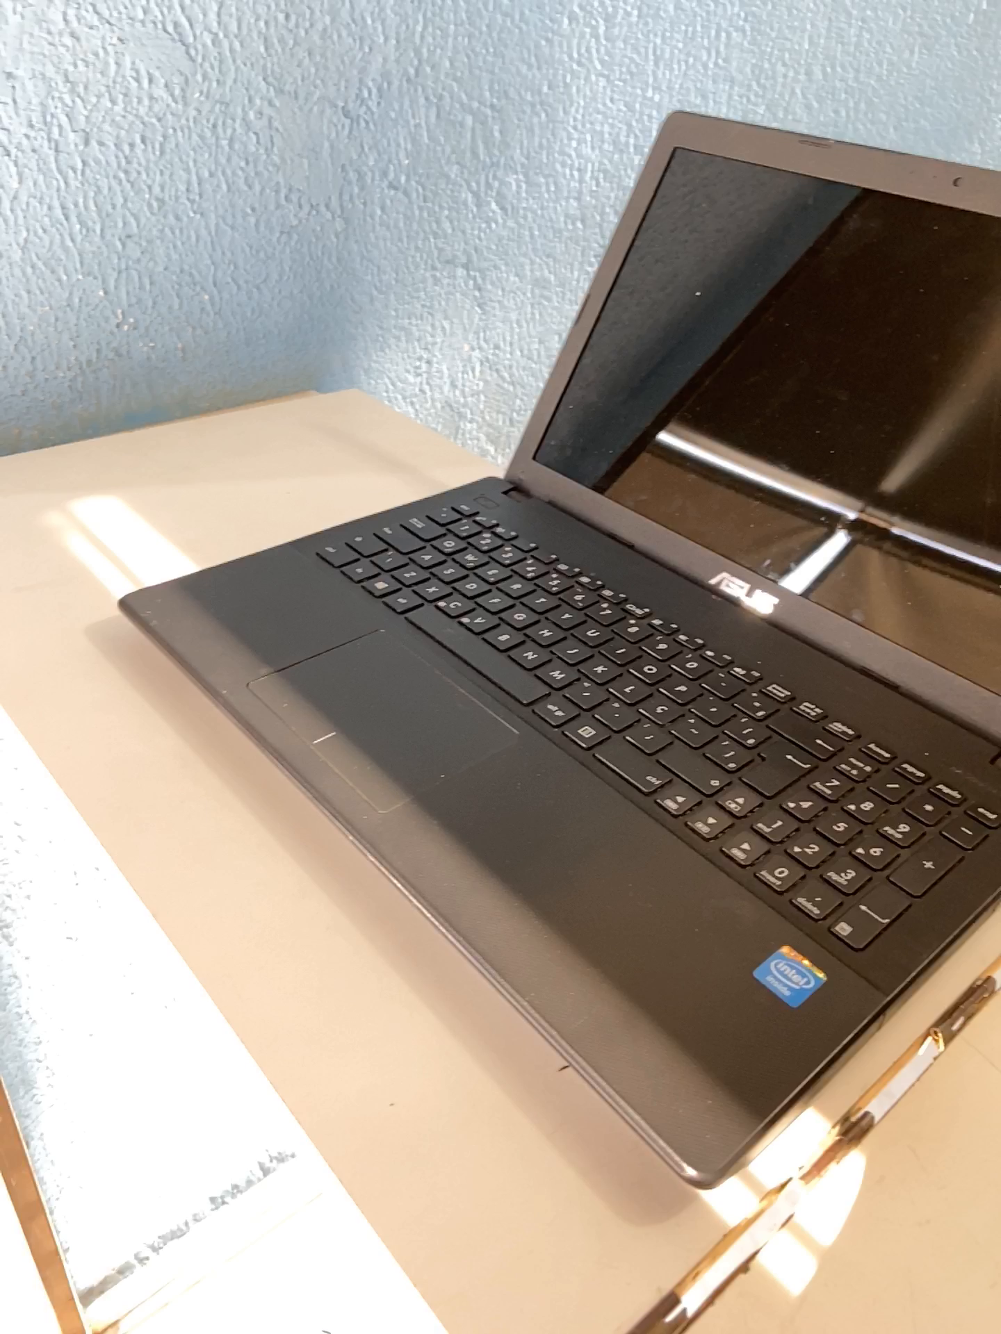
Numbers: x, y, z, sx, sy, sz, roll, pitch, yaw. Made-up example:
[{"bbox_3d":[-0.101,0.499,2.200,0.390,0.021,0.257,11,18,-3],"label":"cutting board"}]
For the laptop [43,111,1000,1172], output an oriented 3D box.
[{"bbox_3d":[0.076,-0.093,0.434,0.362,0.200,0.368,-24,42,-34],"label":"laptop"}]
